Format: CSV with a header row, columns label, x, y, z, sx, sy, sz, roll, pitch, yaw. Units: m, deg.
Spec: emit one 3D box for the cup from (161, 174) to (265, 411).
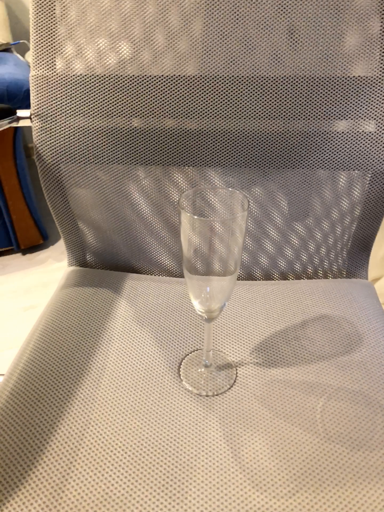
label,x,y,z,sx,sy,sz,roll,pitch,yaw
cup,0.022,0.044,0.414,0.074,0.228,0.075,-1,35,1
